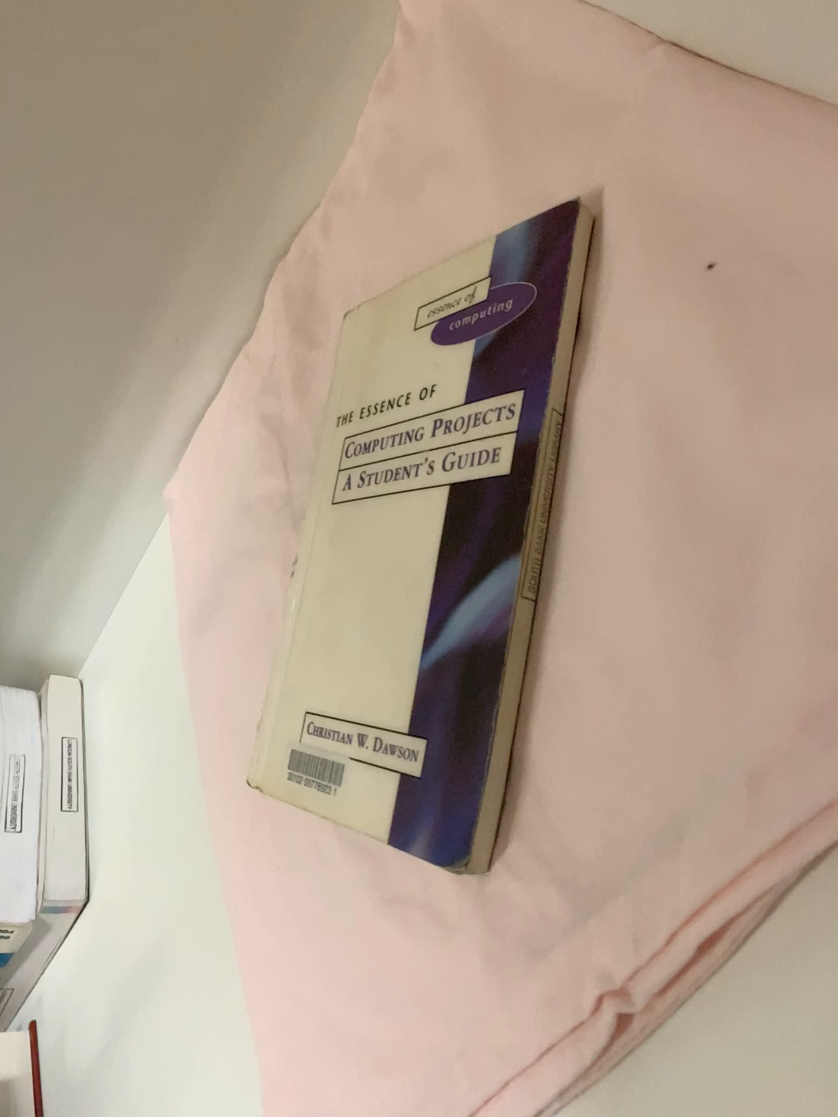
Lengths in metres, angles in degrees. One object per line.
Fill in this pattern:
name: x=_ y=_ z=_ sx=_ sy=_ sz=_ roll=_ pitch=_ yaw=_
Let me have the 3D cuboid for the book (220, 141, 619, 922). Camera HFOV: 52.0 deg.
book: x=-0.009 y=-0.014 z=0.350 sx=0.171 sy=0.020 sz=0.260 roll=-6 pitch=70 yaw=55
